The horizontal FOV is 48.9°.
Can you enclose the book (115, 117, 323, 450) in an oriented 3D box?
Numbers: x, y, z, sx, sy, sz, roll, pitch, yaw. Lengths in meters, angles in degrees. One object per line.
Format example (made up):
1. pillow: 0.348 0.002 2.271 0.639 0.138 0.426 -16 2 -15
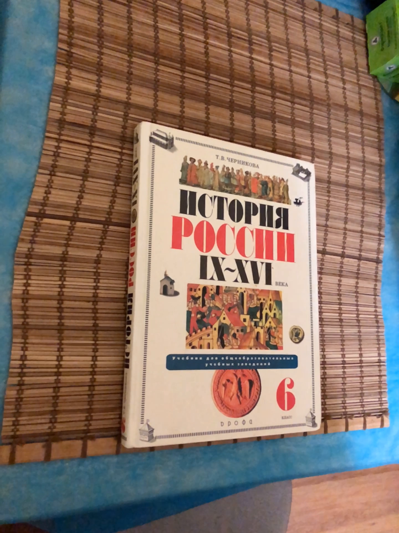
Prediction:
1. book: 0.023 0.014 0.364 0.170 0.029 0.240 6 79 -25
